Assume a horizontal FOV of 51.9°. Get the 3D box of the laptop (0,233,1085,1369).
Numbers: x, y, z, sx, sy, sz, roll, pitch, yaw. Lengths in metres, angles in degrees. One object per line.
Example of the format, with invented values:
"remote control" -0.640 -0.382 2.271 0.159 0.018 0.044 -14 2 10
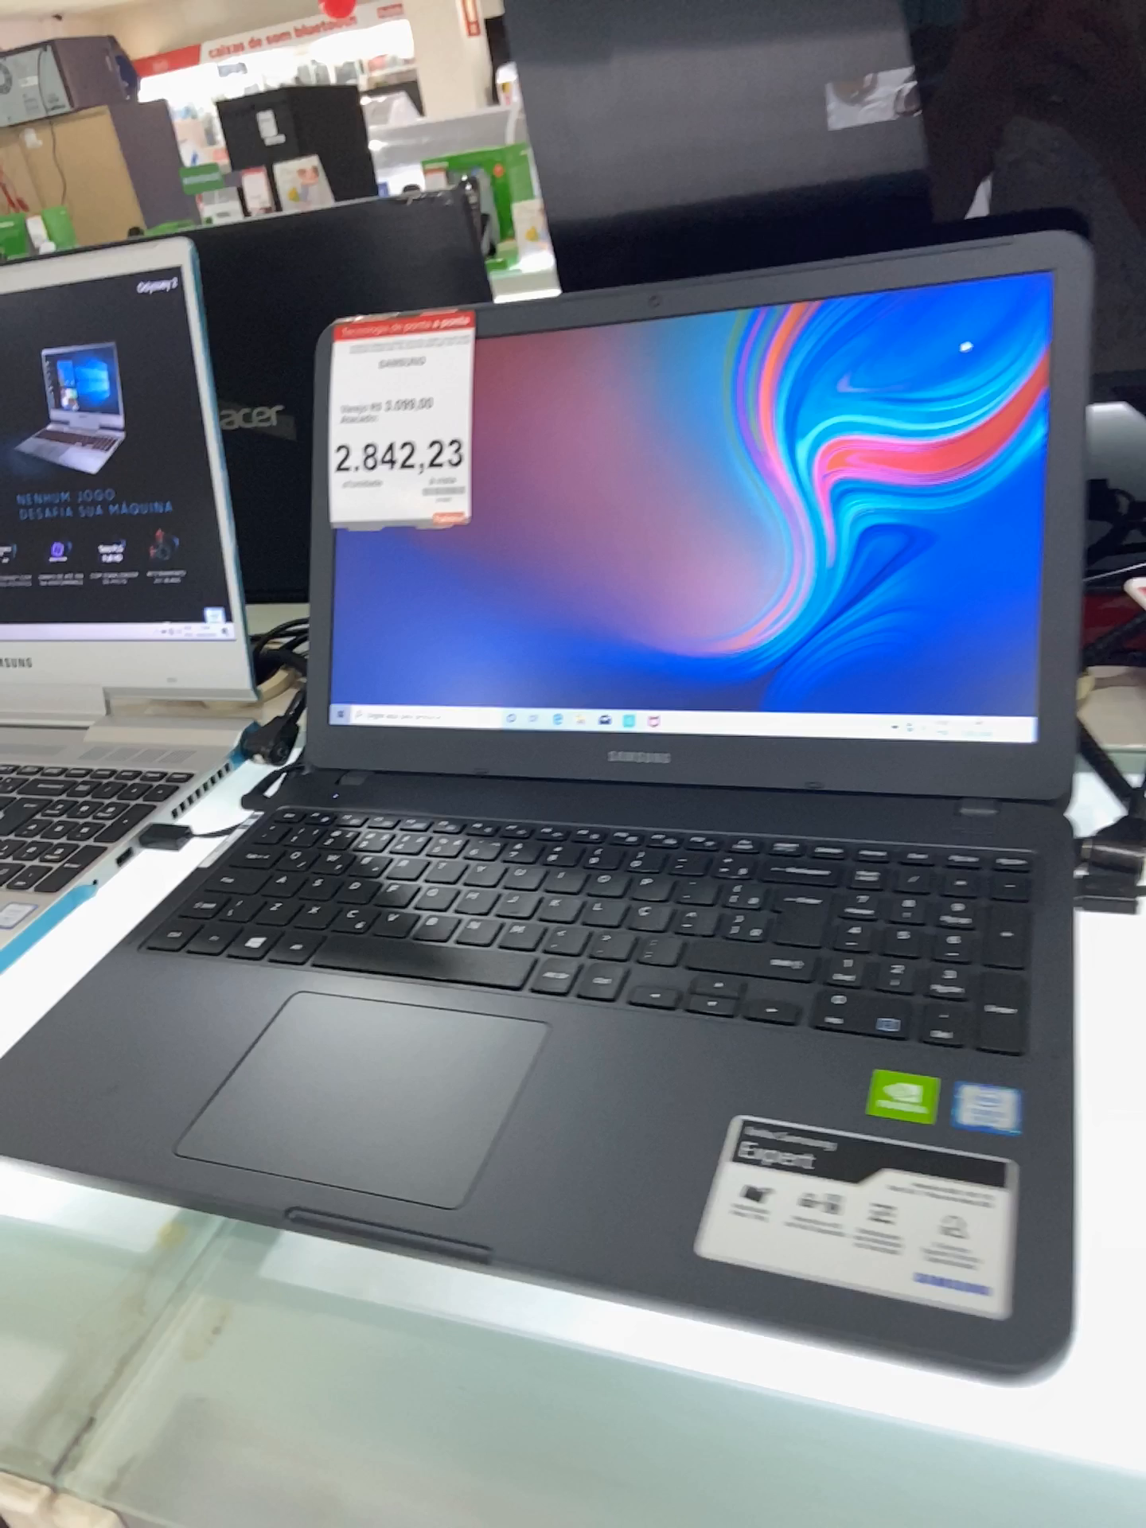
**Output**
"laptop" -0.007 -0.042 0.449 0.366 0.193 0.371 2 32 23
